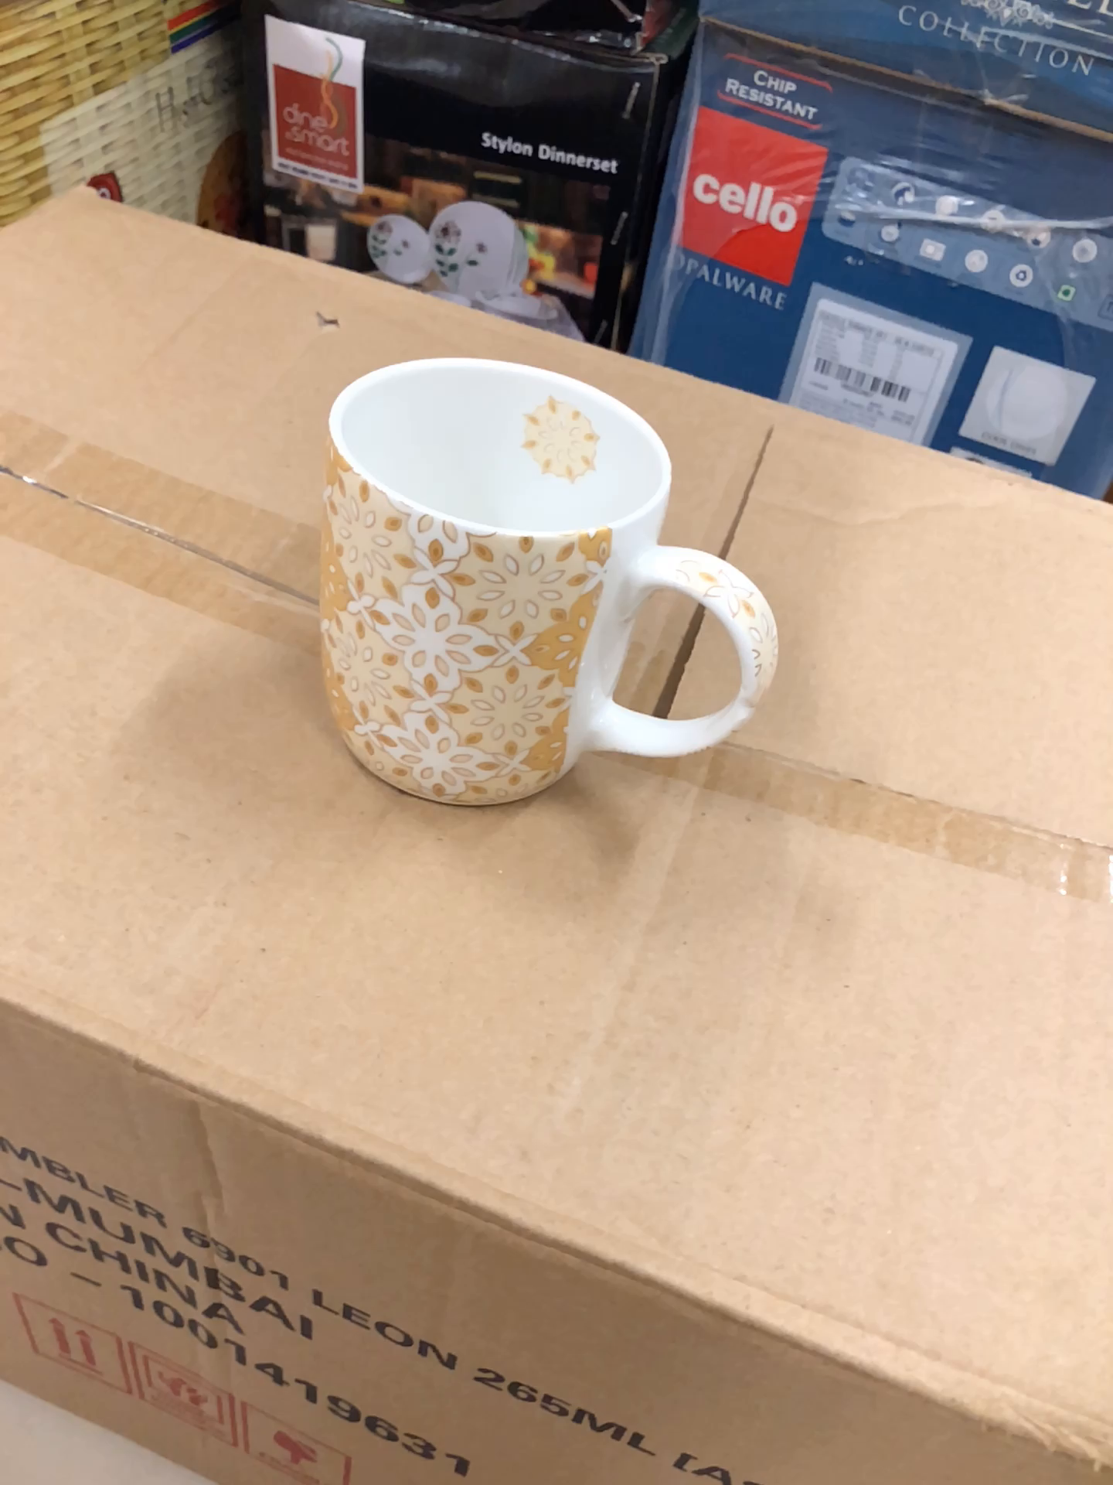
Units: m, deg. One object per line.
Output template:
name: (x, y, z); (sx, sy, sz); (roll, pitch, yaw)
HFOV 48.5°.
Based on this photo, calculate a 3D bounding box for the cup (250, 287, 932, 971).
cup: (0.003, -0.030, 0.288); (0.120, 0.089, 0.081); (29, 44, 15)
